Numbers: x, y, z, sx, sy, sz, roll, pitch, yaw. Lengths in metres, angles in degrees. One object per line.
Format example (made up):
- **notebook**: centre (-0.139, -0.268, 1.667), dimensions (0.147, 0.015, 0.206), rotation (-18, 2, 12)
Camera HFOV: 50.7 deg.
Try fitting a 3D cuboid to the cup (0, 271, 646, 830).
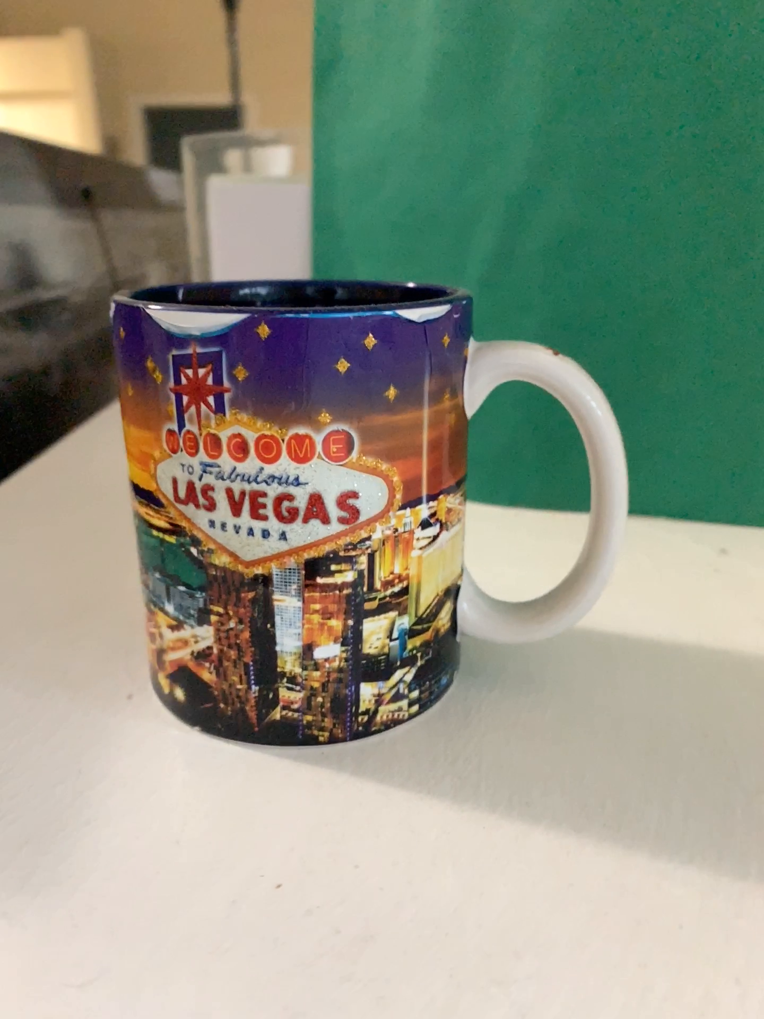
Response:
- **cup**: centre (-0.009, -0.002, 0.190), dimensions (0.120, 0.100, 0.080), rotation (4, 20, 12)
